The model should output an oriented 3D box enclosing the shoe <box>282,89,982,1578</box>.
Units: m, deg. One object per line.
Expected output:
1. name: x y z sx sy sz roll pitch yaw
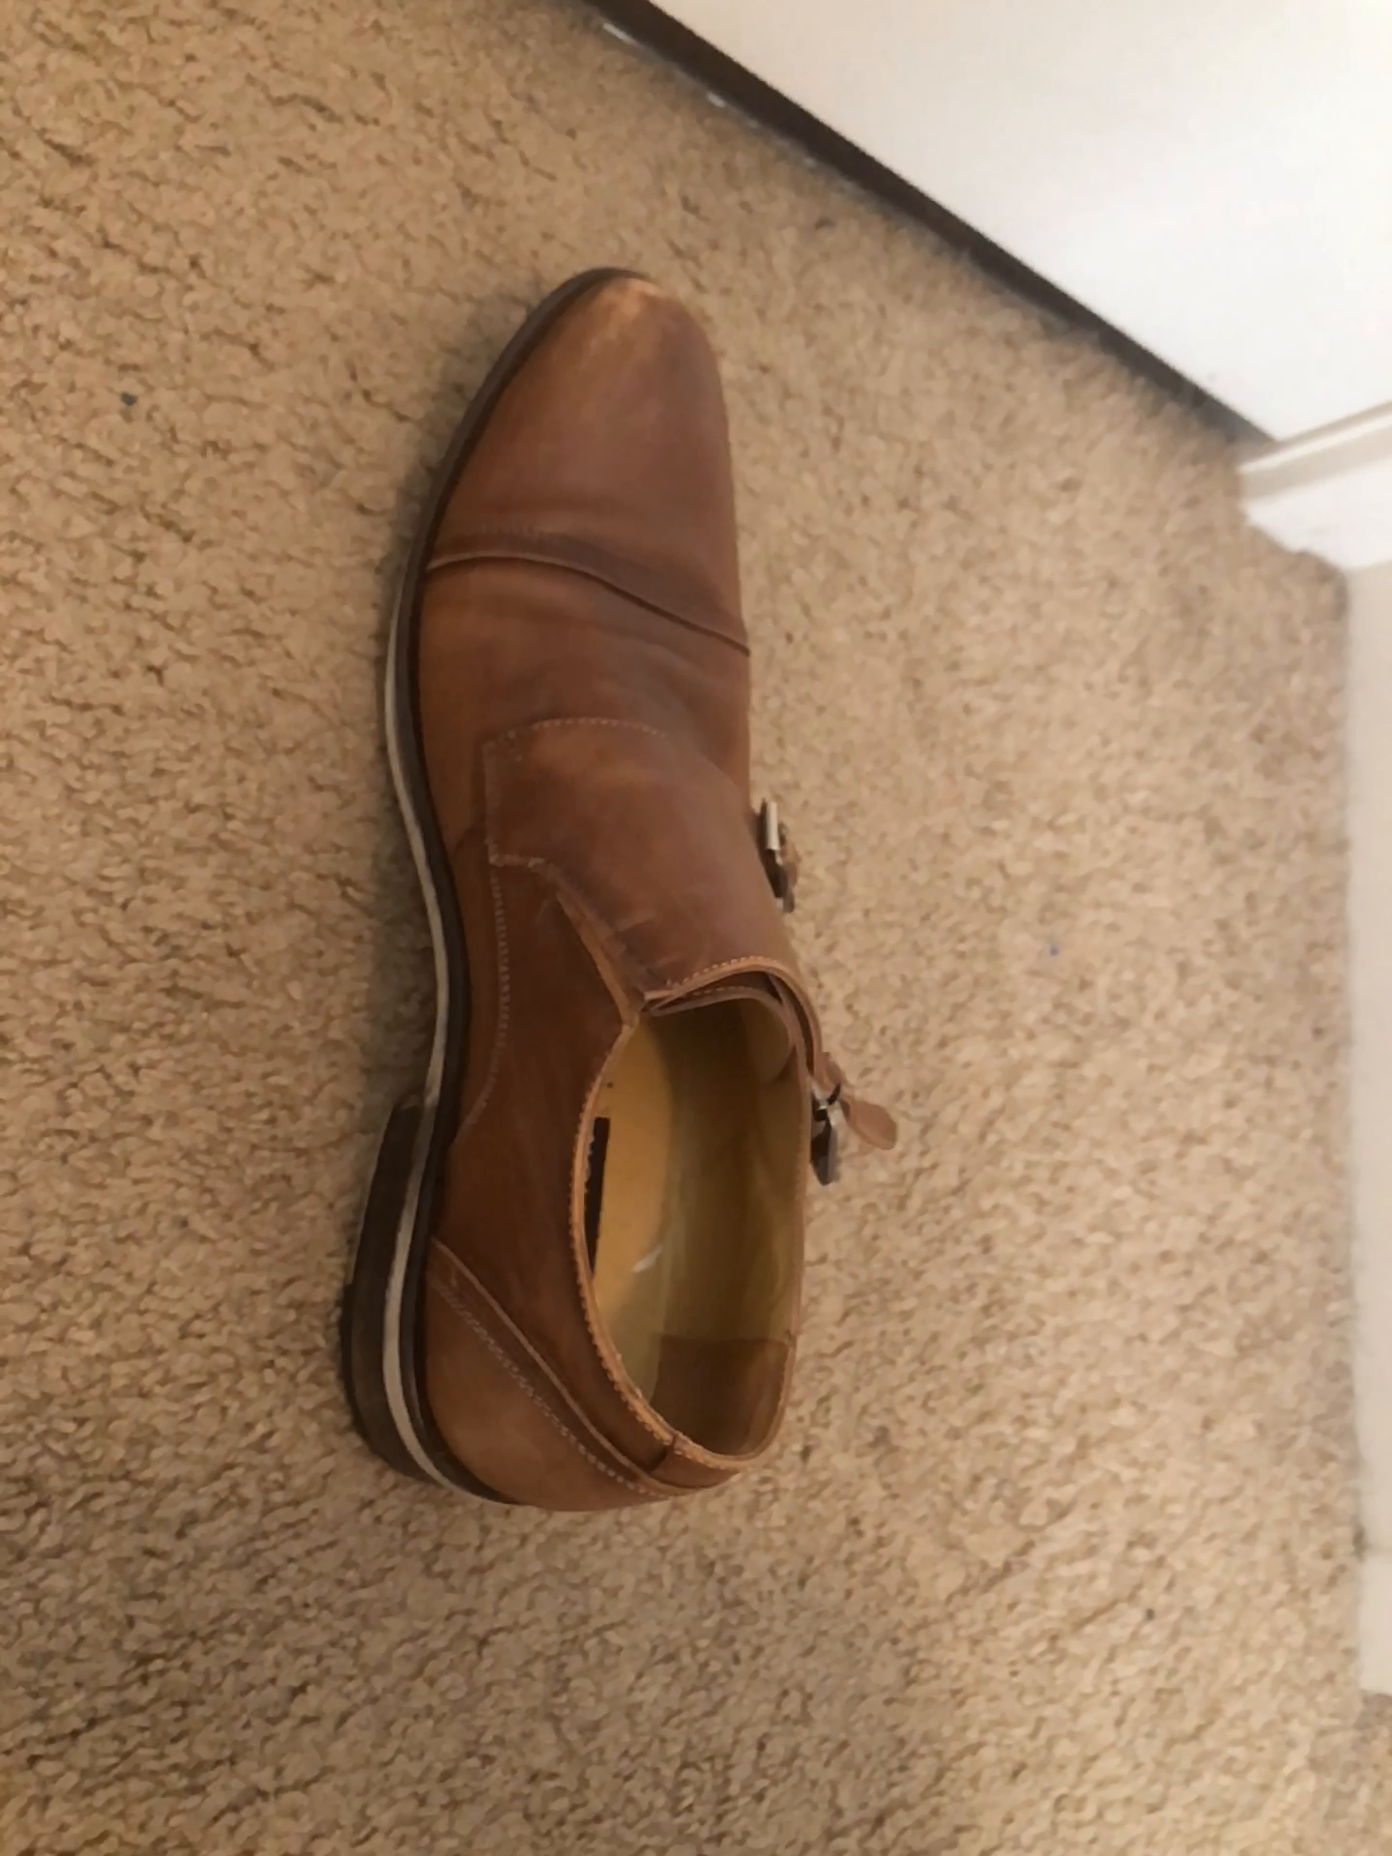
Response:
1. shoe: -0.011 -0.017 0.362 0.100 0.106 0.286 12 77 -40
